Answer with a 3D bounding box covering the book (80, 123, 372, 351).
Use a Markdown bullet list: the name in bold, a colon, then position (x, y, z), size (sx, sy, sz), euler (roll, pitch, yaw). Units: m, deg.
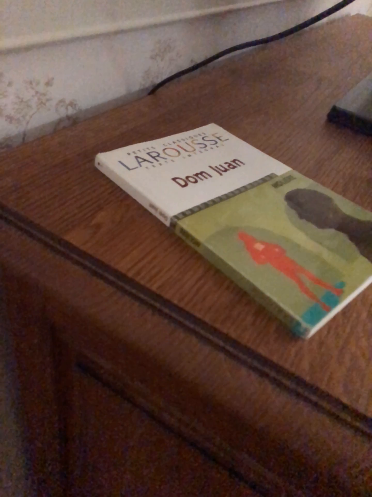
- **book**: position (0.033, -0.028, 0.256), size (0.116, 0.010, 0.180), euler (-25, 52, -37)
